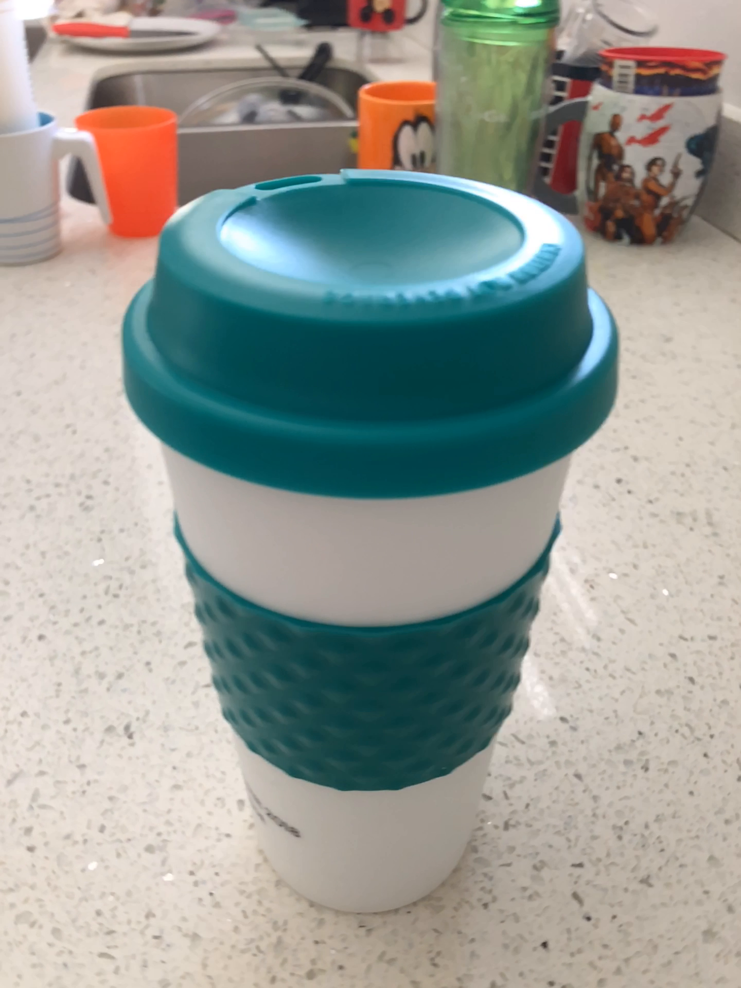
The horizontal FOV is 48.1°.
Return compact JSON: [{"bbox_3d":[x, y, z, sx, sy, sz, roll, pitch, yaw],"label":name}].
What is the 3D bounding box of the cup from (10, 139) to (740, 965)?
[{"bbox_3d":[0.003,0.018,0.197,0.100,0.169,0.100,0,36,0],"label":"cup"}]
